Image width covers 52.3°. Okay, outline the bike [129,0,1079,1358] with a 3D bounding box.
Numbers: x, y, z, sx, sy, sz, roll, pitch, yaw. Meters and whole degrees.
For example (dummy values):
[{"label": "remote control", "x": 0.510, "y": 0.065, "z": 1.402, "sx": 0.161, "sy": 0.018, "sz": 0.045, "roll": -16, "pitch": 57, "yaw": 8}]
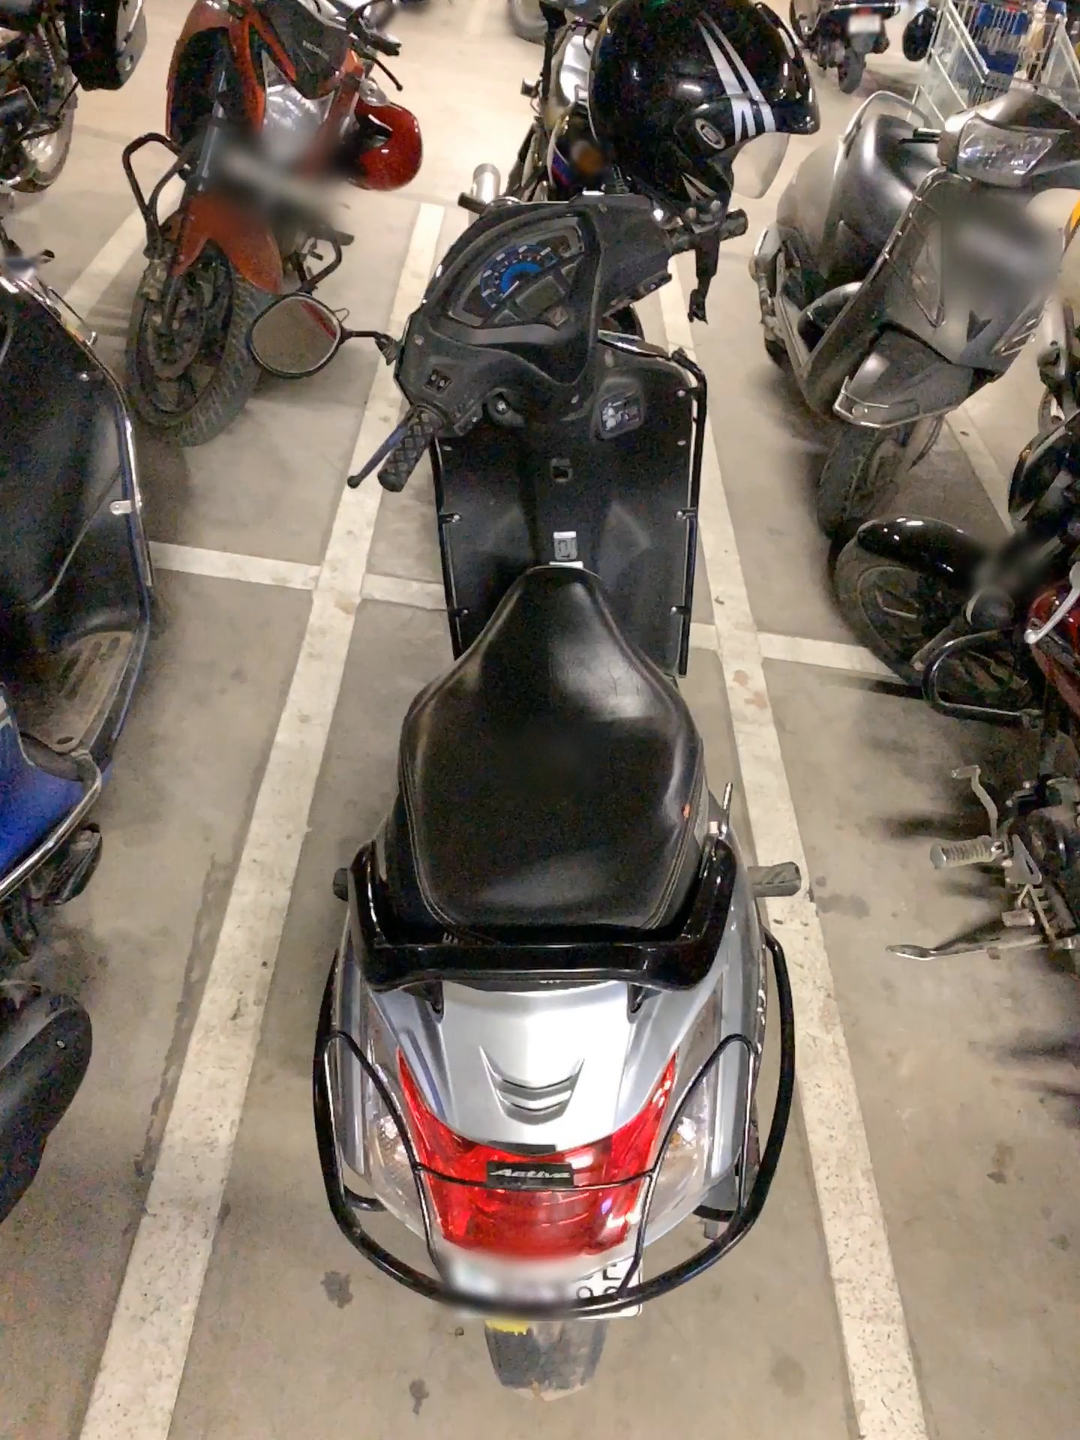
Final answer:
[{"label": "bike", "x": -0.050, "y": -0.147, "z": 1.575, "sx": 0.630, "sy": 1.090, "sz": 1.540, "roll": 6, "pitch": 45, "yaw": -9}]
